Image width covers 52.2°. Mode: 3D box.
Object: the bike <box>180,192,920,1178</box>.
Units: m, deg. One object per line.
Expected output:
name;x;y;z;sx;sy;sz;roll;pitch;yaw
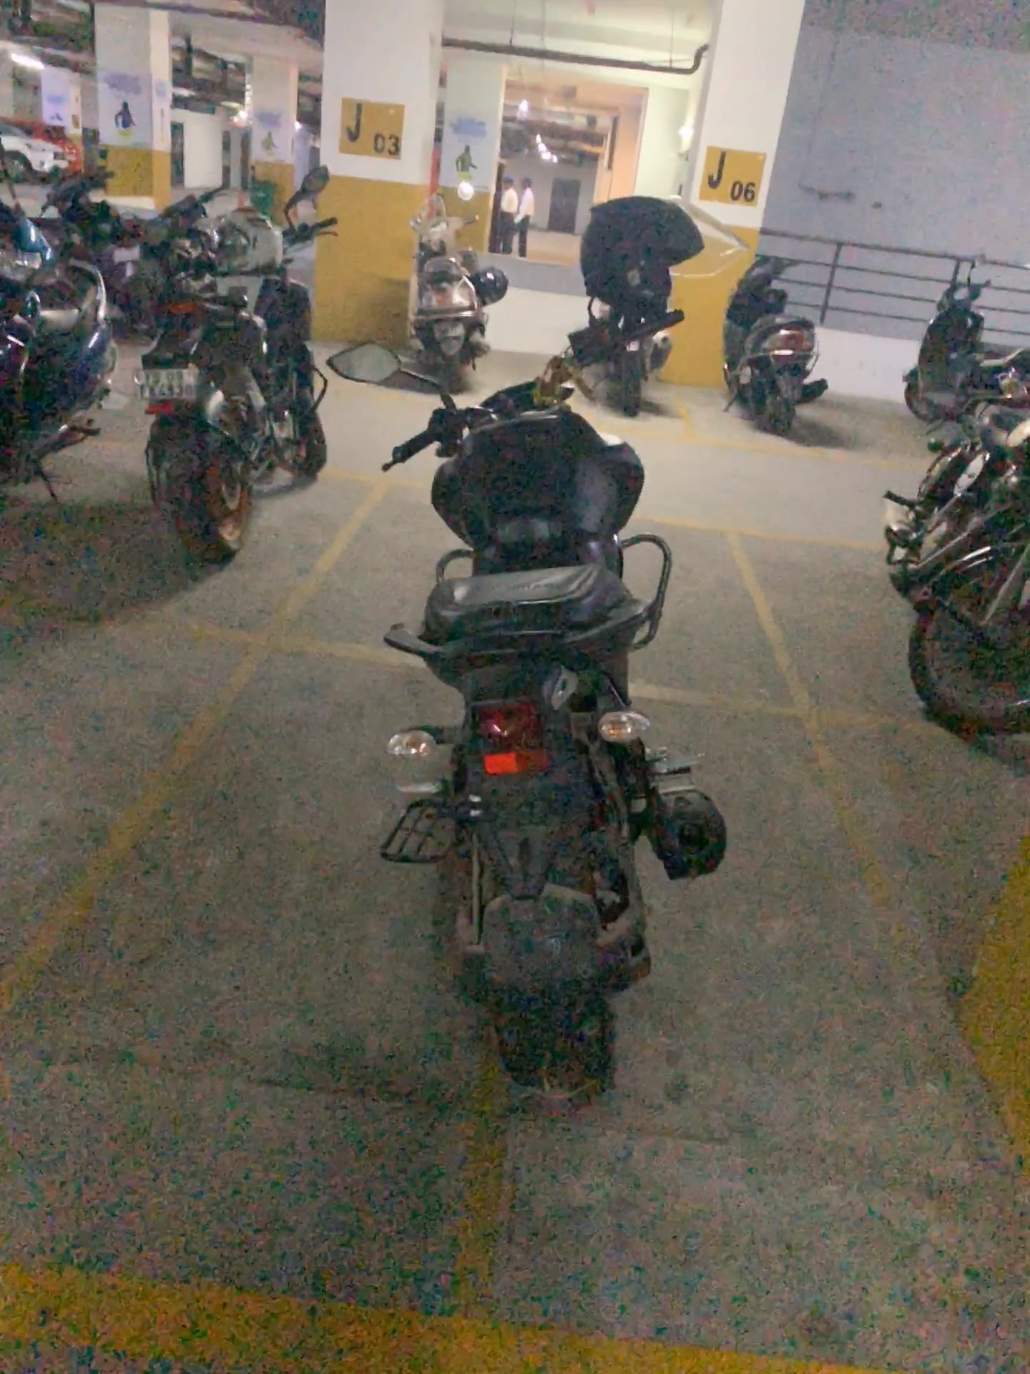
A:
bike;-0.109;-0.244;2.085;0.785;1.097;1.744;4;28;-8
